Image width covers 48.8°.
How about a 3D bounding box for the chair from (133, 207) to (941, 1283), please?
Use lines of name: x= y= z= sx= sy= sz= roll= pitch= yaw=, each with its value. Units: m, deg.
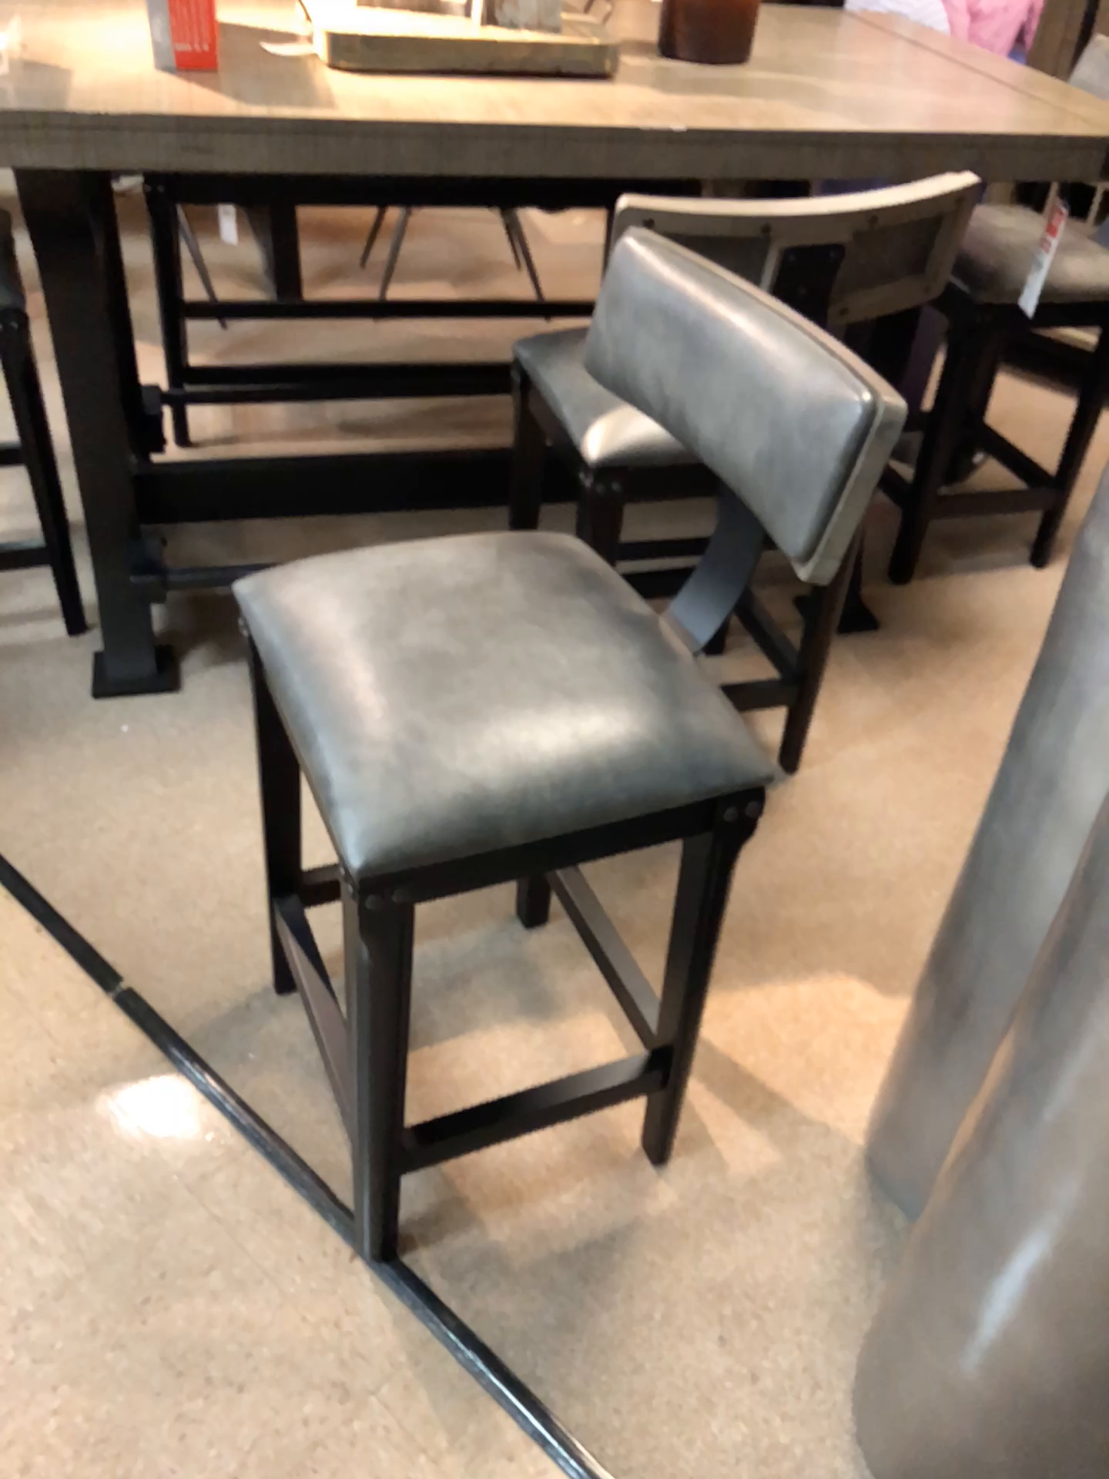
chair: x=-0.065 y=0.021 z=1.174 sx=0.460 sy=0.864 sz=0.443 roll=-13 pitch=42 yaw=-21
